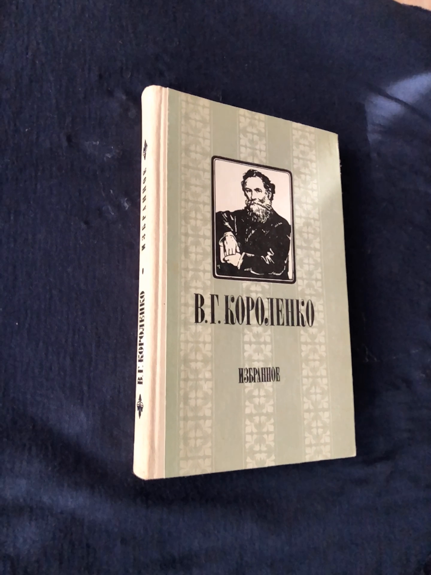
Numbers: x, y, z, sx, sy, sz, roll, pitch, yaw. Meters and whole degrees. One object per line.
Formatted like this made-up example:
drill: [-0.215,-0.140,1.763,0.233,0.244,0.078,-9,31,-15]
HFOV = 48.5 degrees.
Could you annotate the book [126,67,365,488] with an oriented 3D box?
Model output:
book: [0.019,-0.006,0.277,0.132,0.030,0.209,4,79,-27]
